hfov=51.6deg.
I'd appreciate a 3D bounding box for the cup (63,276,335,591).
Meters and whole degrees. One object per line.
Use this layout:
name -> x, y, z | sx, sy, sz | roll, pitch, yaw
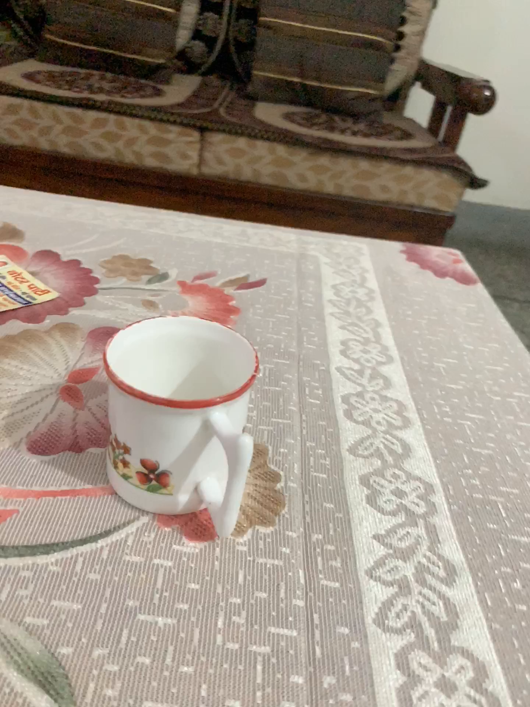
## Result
cup -> -0.035, 0.027, 0.248 | 0.070, 0.080, 0.100 | -16, 41, -34
